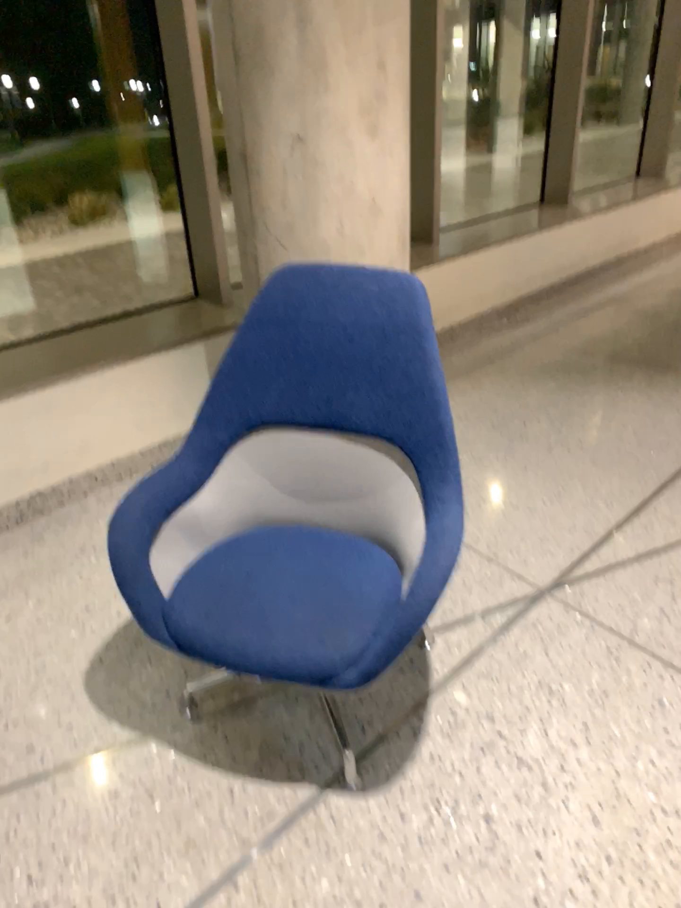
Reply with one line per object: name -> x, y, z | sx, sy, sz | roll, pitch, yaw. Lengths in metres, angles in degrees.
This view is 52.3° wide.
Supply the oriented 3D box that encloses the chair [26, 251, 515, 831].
chair -> -0.079, 0.123, 1.561 | 0.716, 0.962, 0.638 | 11, 31, 25
